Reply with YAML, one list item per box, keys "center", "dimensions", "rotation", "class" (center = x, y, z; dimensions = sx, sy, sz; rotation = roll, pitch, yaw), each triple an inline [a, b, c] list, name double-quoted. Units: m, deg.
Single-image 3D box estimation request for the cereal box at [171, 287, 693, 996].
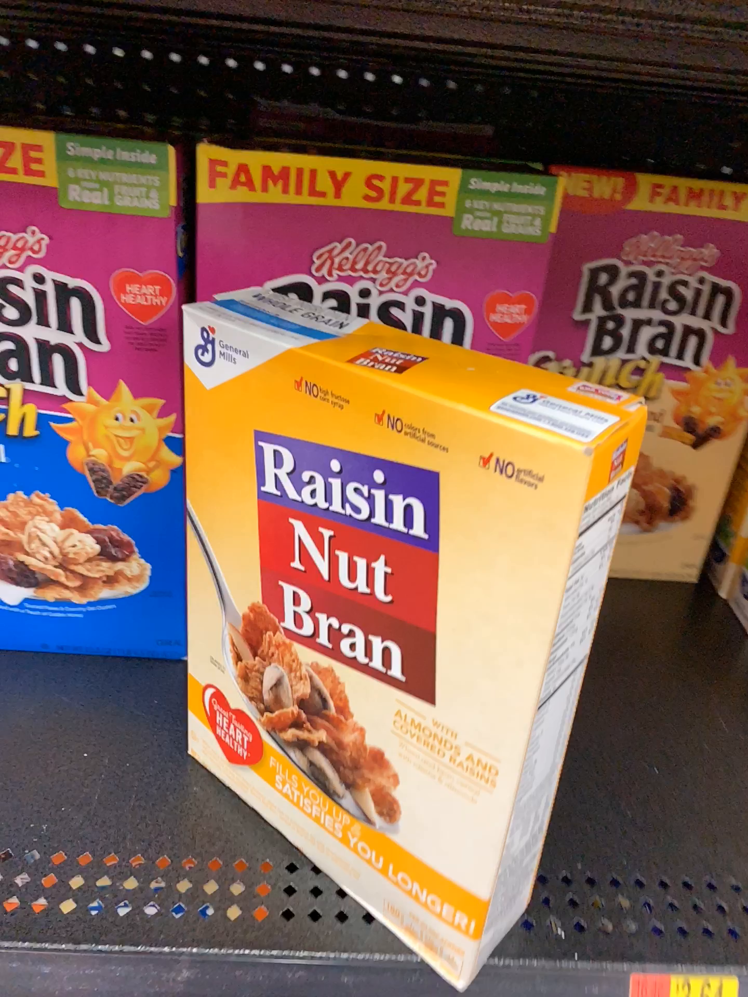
- center: [-0.003, 0.060, 0.345]
  dimensions: [0.200, 0.259, 0.060]
  rotation: [26, 32, 34]
  class: "cereal box"
